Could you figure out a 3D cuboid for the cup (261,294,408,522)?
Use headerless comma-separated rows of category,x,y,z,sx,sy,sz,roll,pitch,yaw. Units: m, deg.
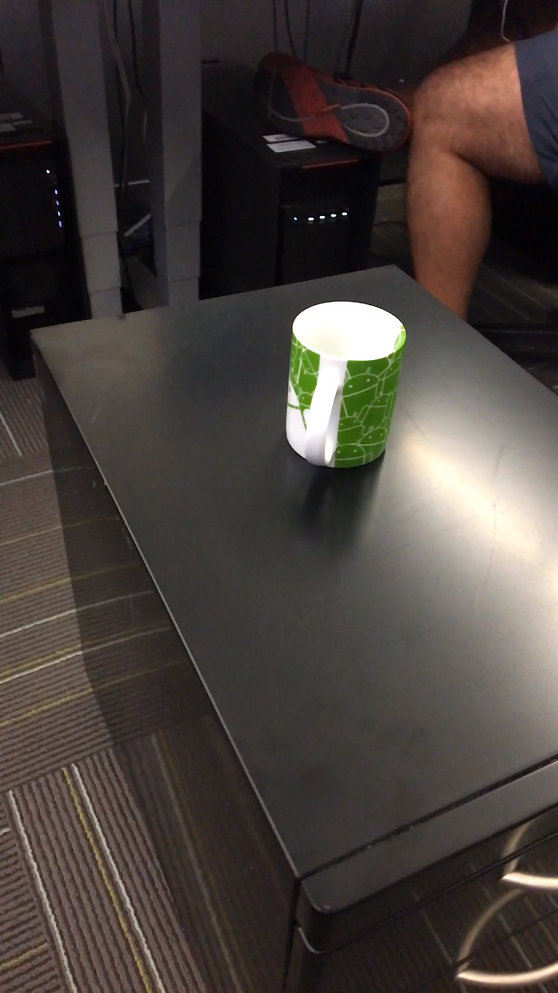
cup,0.042,-0.067,0.616,0.090,0.110,0.120,7,41,3
